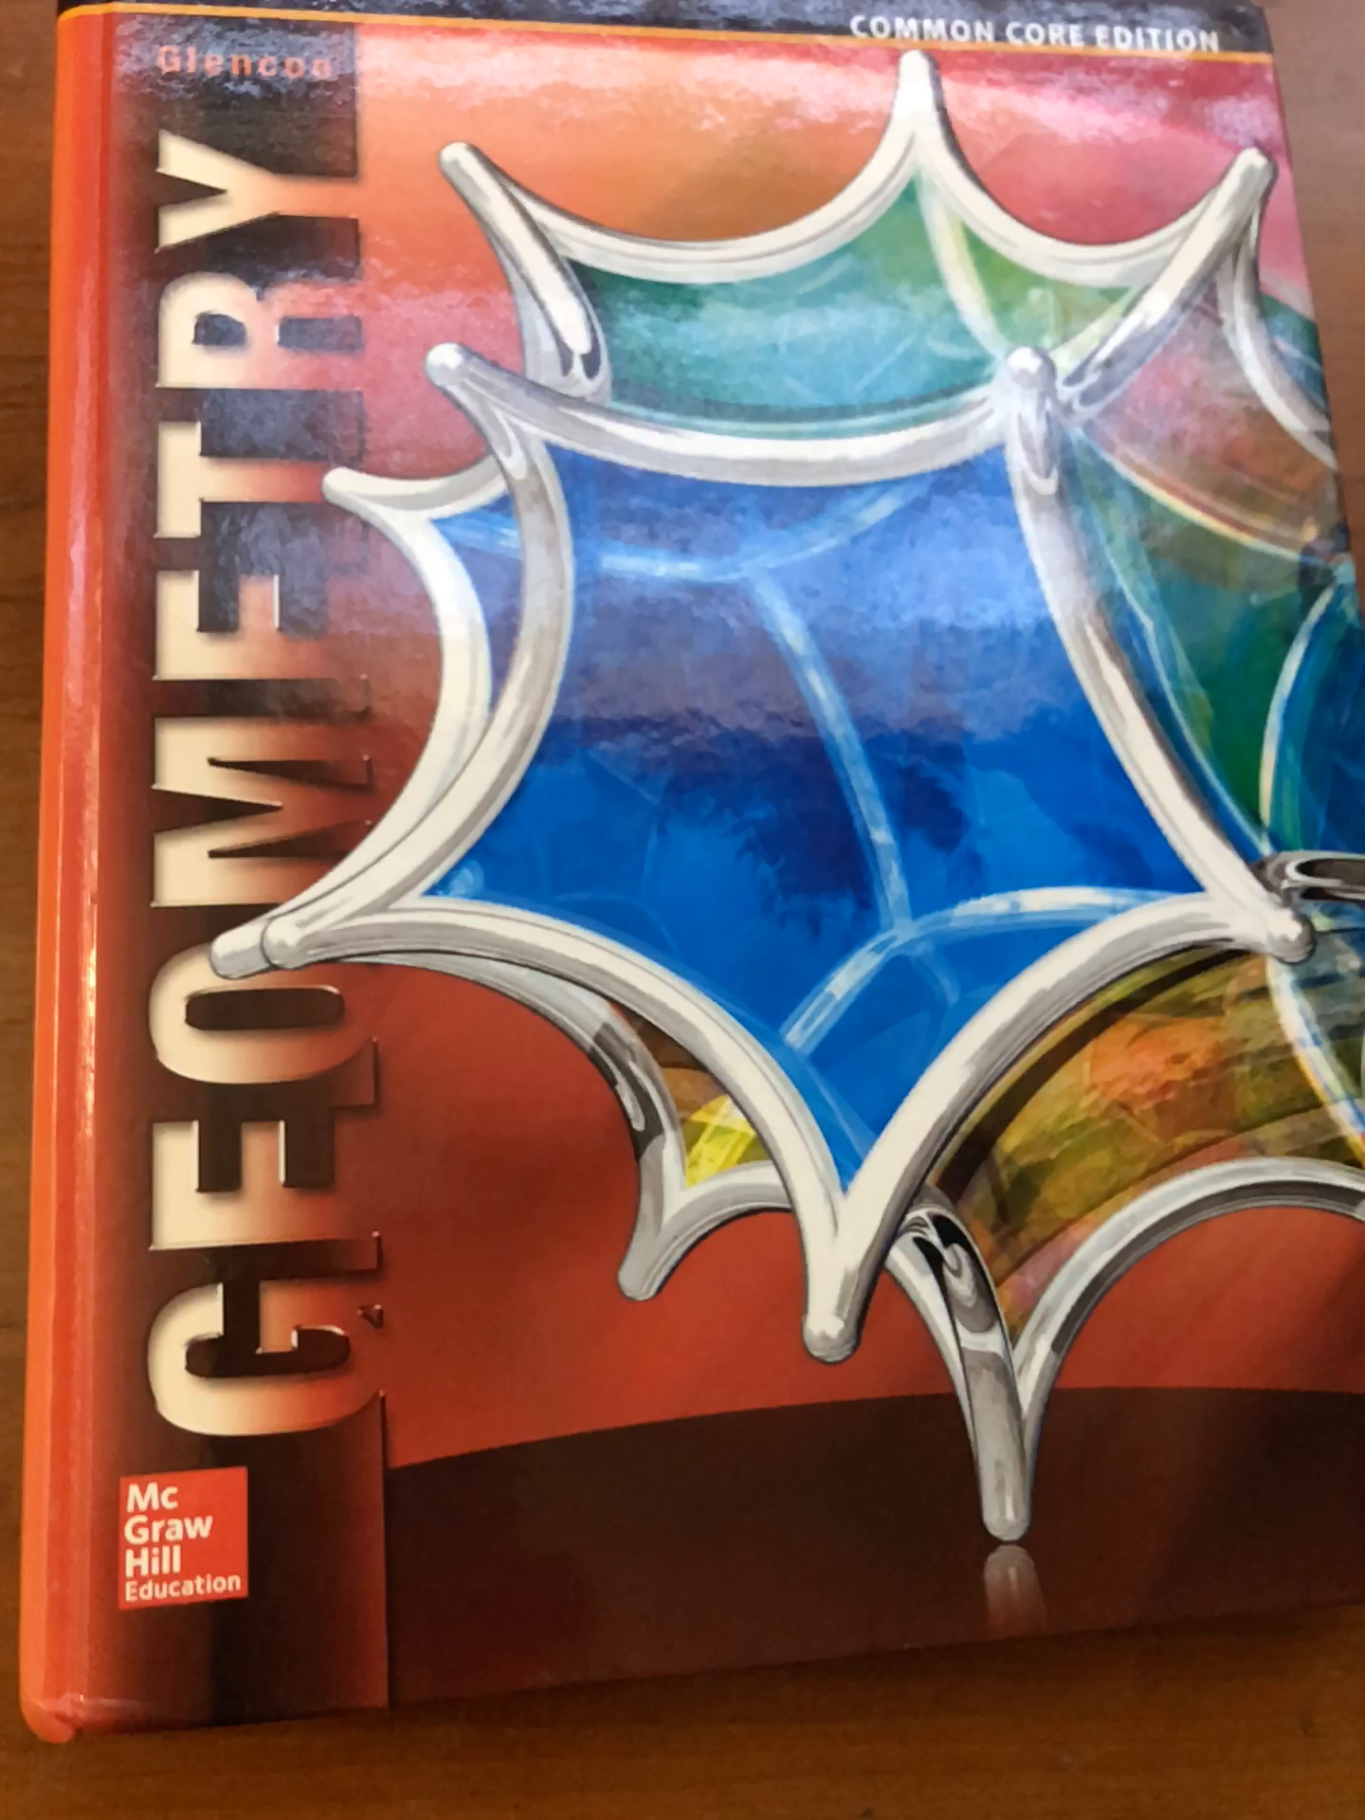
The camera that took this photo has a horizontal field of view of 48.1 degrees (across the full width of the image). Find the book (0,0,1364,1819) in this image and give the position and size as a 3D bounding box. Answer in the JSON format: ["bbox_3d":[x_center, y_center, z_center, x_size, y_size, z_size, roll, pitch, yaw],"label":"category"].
[{"bbox_3d":[0.015,-0.022,0.267,0.229,0.050,0.310,-2,78,-7],"label":"book"}]
